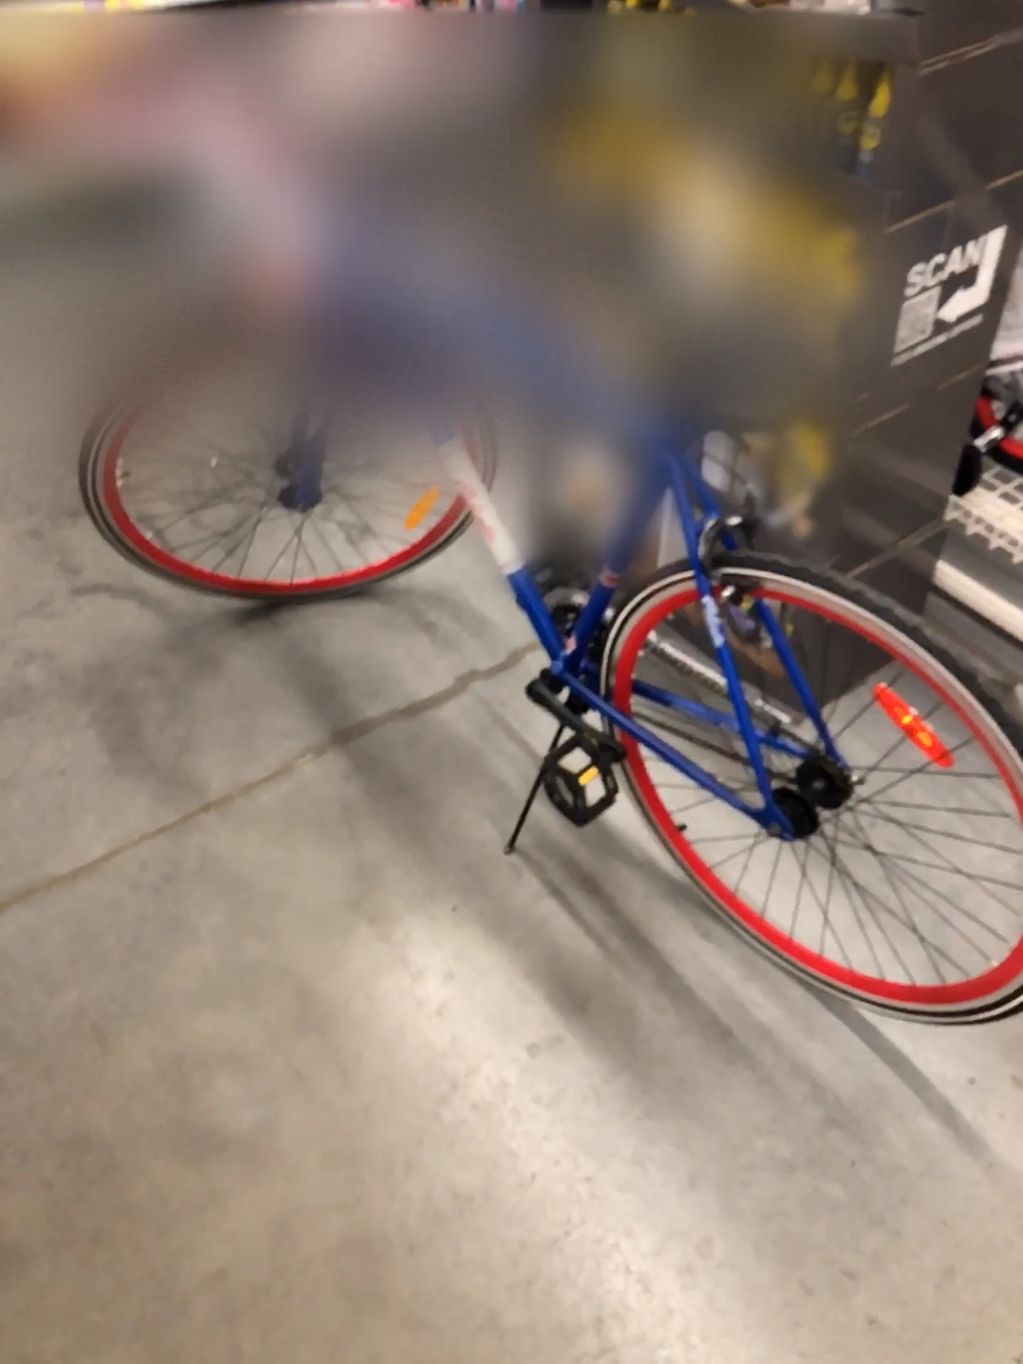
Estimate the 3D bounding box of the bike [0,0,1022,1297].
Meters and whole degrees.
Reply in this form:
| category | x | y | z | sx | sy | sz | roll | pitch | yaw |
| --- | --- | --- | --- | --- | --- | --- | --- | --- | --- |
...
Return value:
| category | x | y | z | sx | sy | sz | roll | pitch | yaw |
| --- | --- | --- | --- | --- | --- | --- | --- | --- | --- |
| bike | -0.036 | -0.137 | 1.324 | 1.494 | 0.937 | 0.603 | 29 | 52 | 21 |
